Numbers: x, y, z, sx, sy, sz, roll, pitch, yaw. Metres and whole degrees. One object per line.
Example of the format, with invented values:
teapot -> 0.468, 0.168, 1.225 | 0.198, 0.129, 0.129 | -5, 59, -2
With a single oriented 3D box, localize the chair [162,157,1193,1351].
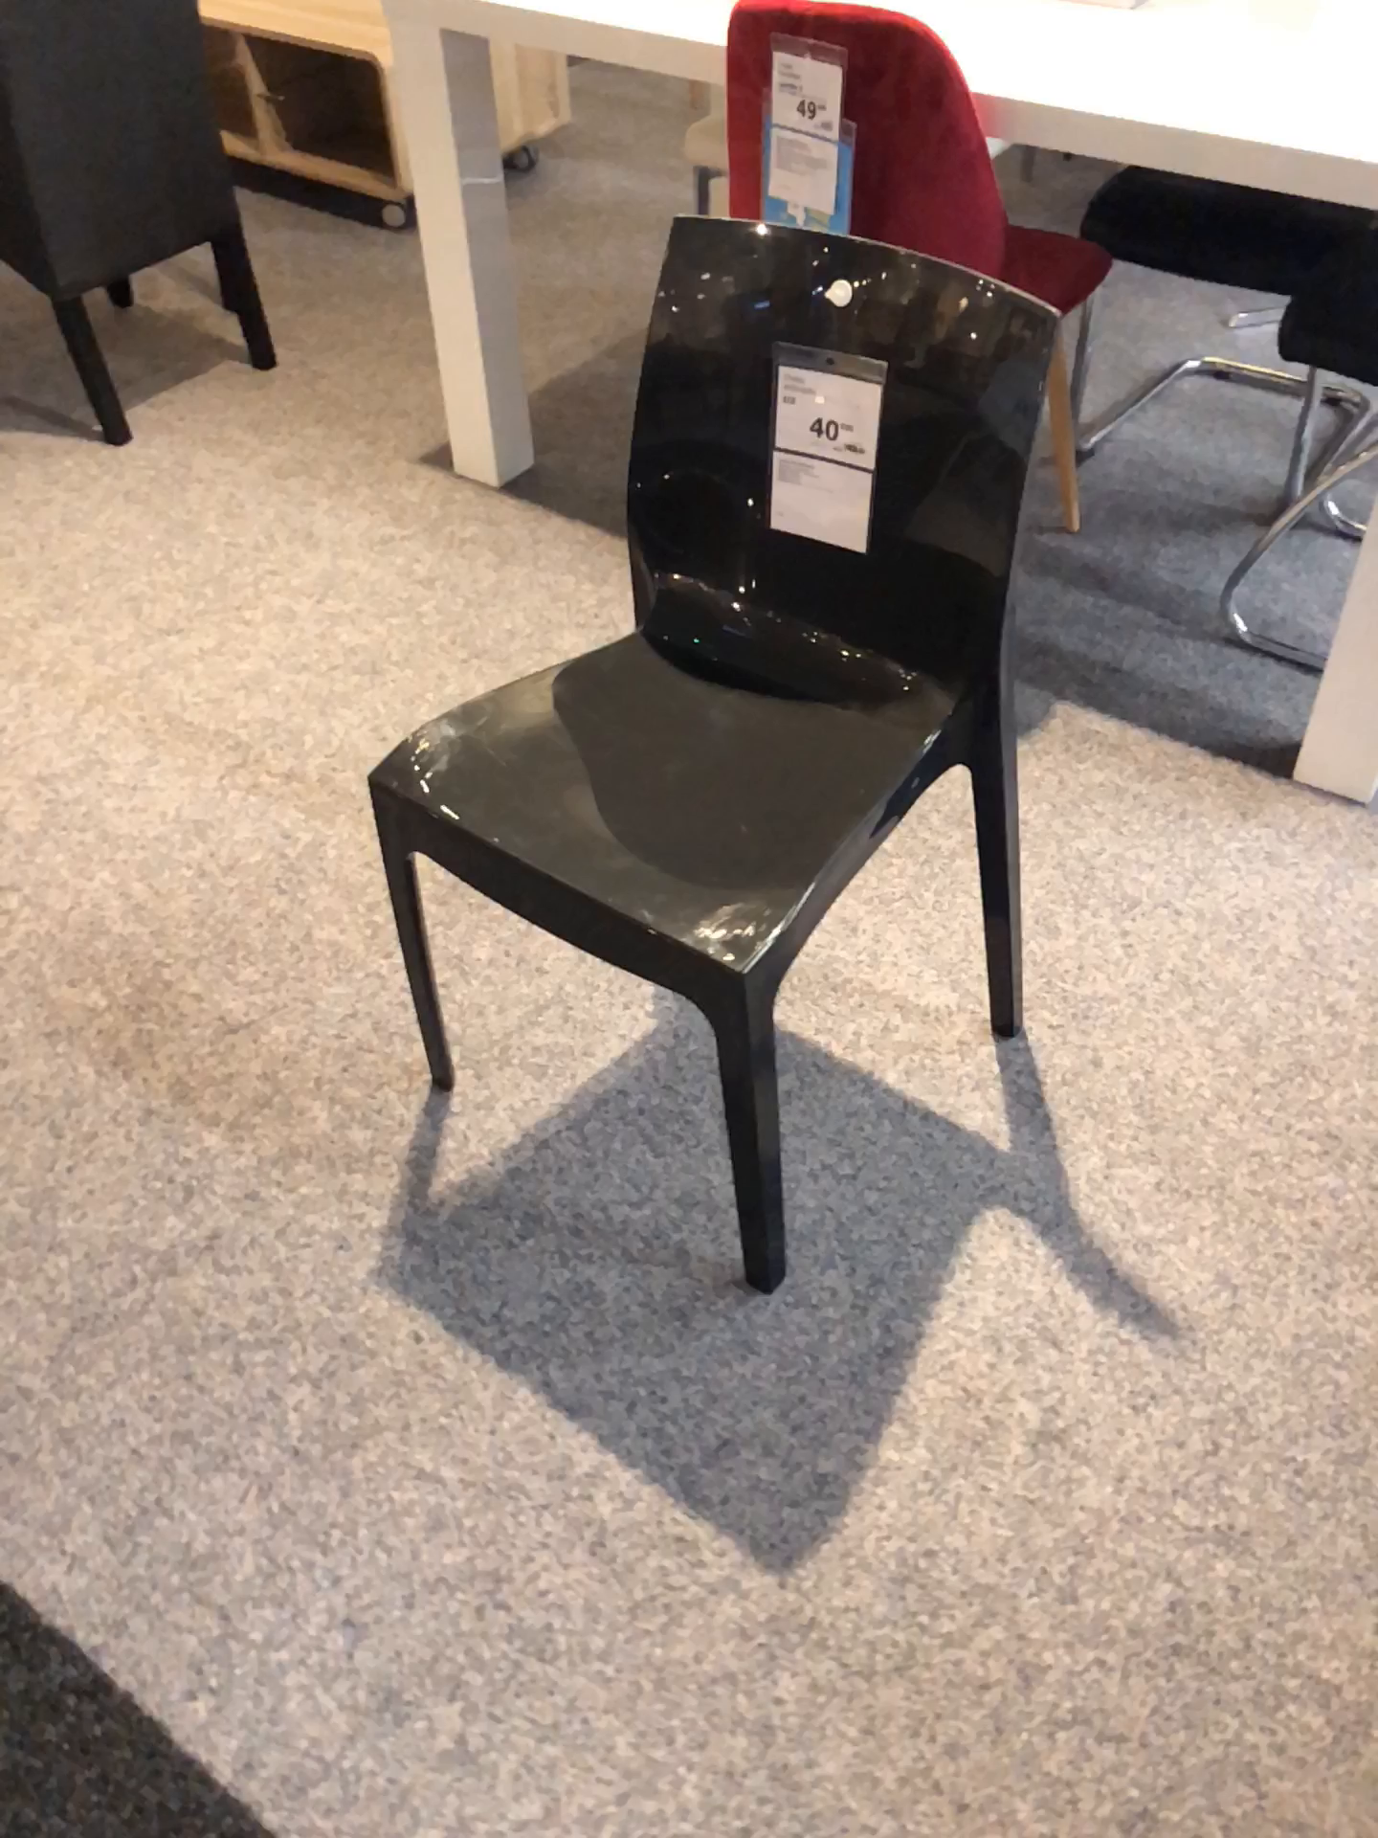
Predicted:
chair -> 0.018, -0.156, 1.365 | 0.520, 0.766, 0.573 | 25, 49, 25
